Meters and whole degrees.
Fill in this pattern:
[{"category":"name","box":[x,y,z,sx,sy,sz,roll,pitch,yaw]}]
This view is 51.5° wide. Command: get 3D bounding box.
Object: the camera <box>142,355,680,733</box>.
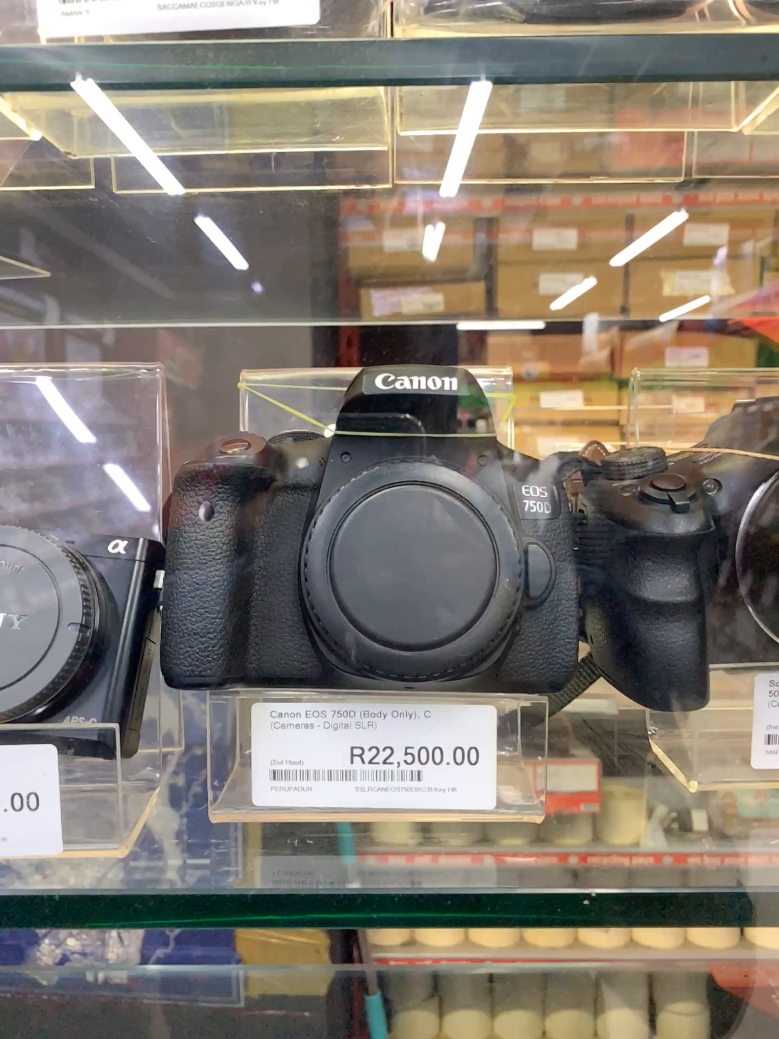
[{"category":"camera","box":[0.003,0.005,0.234,0.130,0.090,0.070,2,5,-4]}]
